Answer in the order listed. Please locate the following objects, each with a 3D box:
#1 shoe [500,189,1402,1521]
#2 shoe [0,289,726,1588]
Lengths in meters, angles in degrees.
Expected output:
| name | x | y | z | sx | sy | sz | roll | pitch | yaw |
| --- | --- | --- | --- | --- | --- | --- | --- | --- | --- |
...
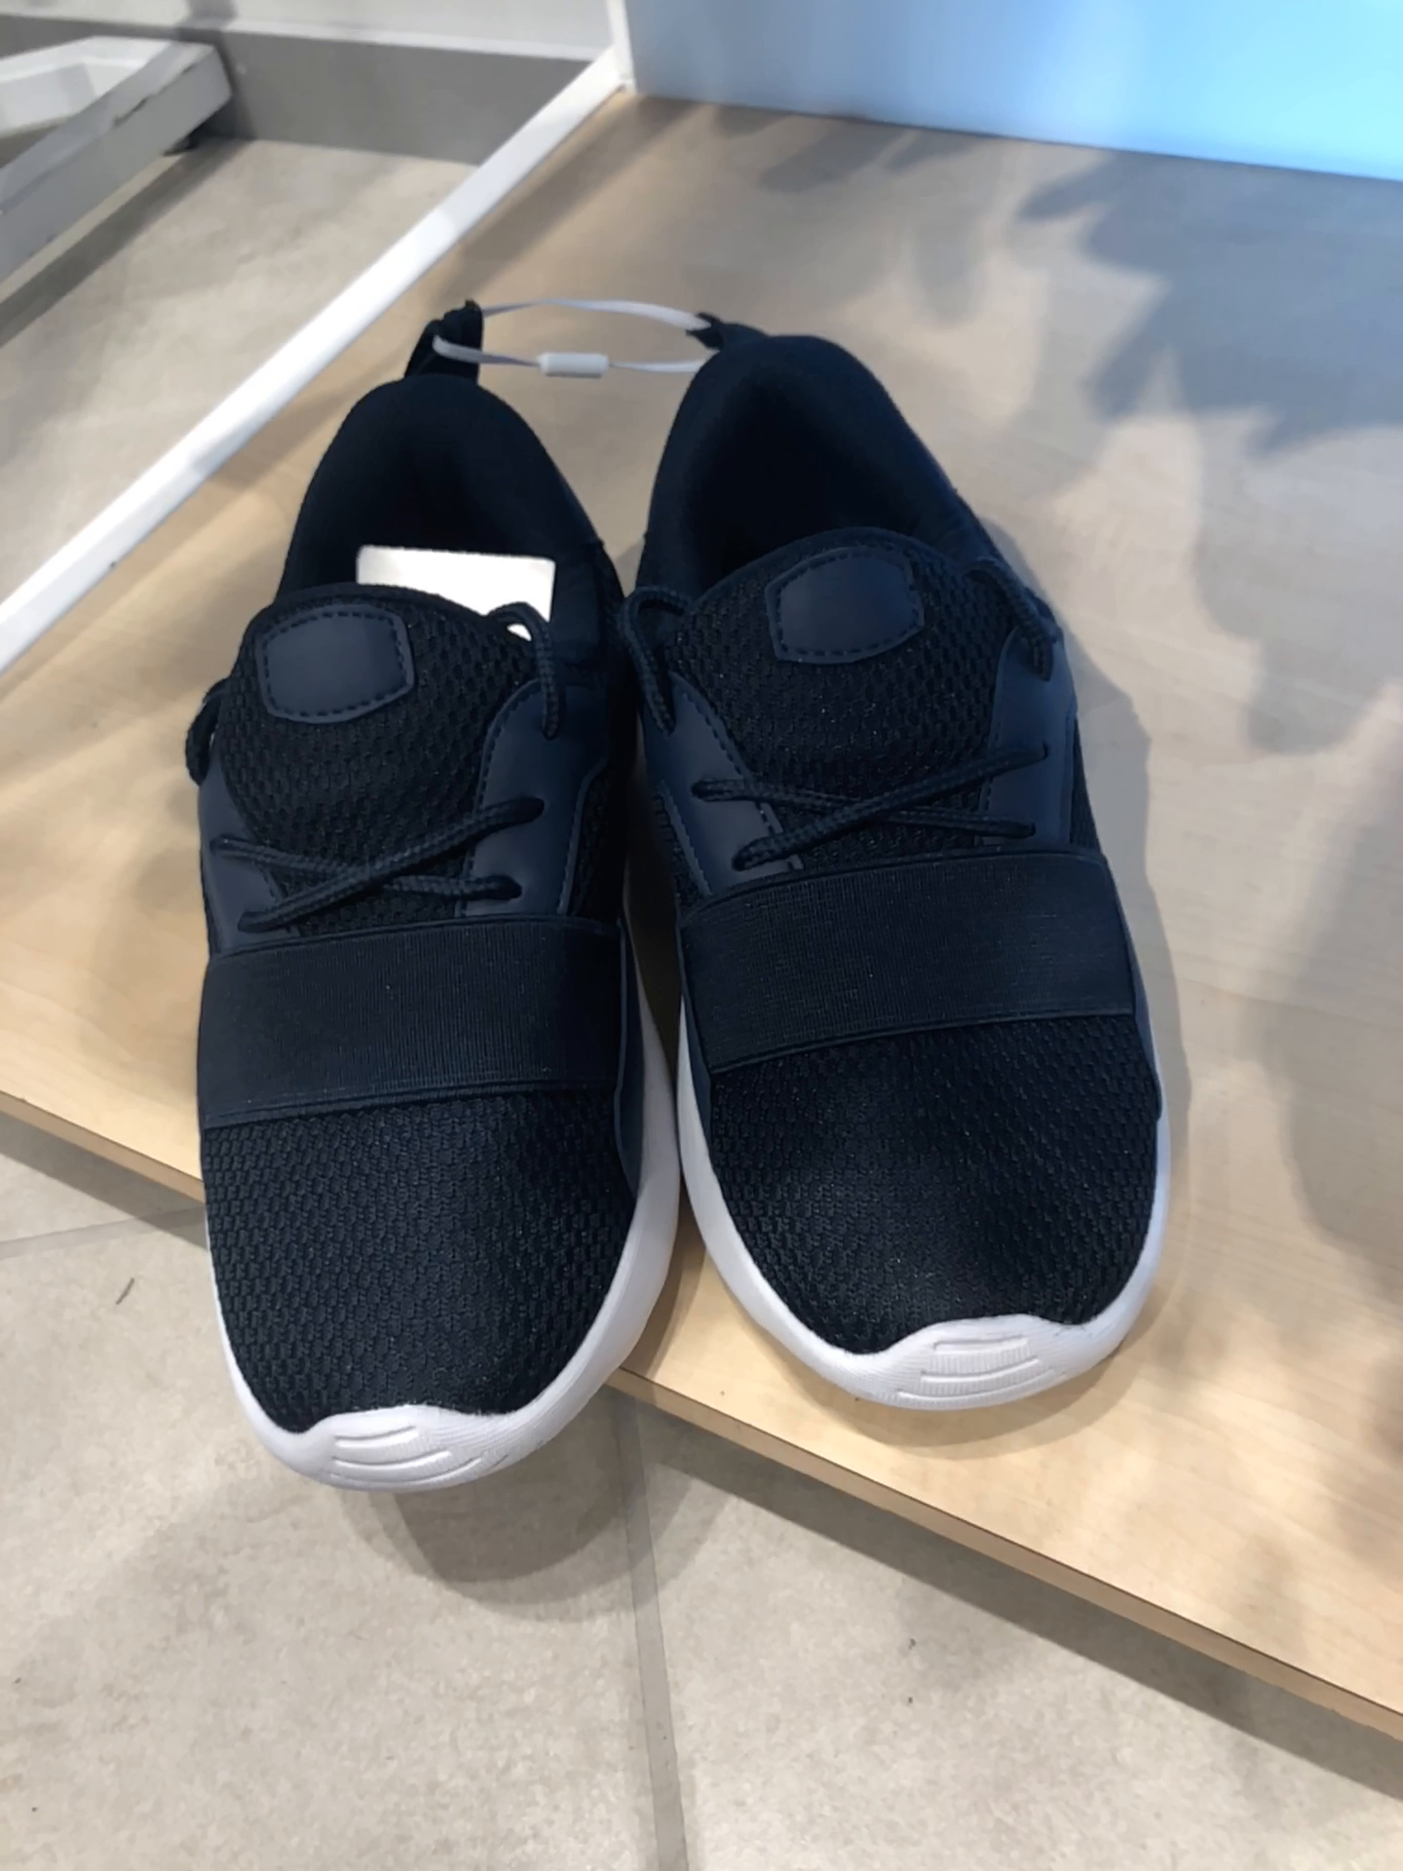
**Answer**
| name | x | y | z | sx | sy | sz | roll | pitch | yaw |
| --- | --- | --- | --- | --- | --- | --- | --- | --- | --- |
| shoe | 0.026 | -0.032 | 0.304 | 0.100 | 0.099 | 0.241 | -10 | 51 | 0 |
| shoe | -0.047 | -0.013 | 0.309 | 0.090 | 0.099 | 0.241 | -4 | 51 | 5 |
